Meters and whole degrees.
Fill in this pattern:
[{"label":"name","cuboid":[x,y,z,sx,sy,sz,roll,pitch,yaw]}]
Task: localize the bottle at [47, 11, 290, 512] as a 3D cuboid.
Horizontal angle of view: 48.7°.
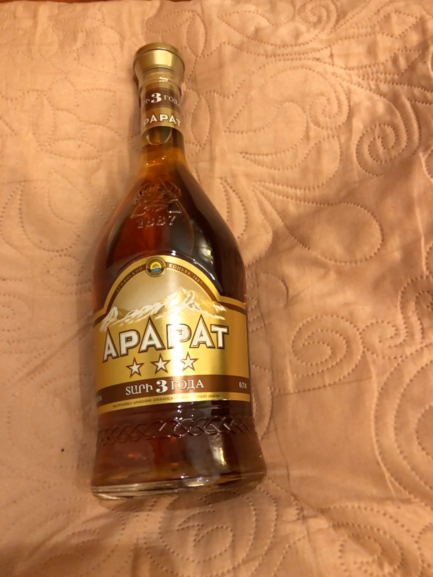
[{"label":"bottle","cuboid":[-0.027,-0.020,0.275,0.090,0.090,0.258,-10,66,9]}]
